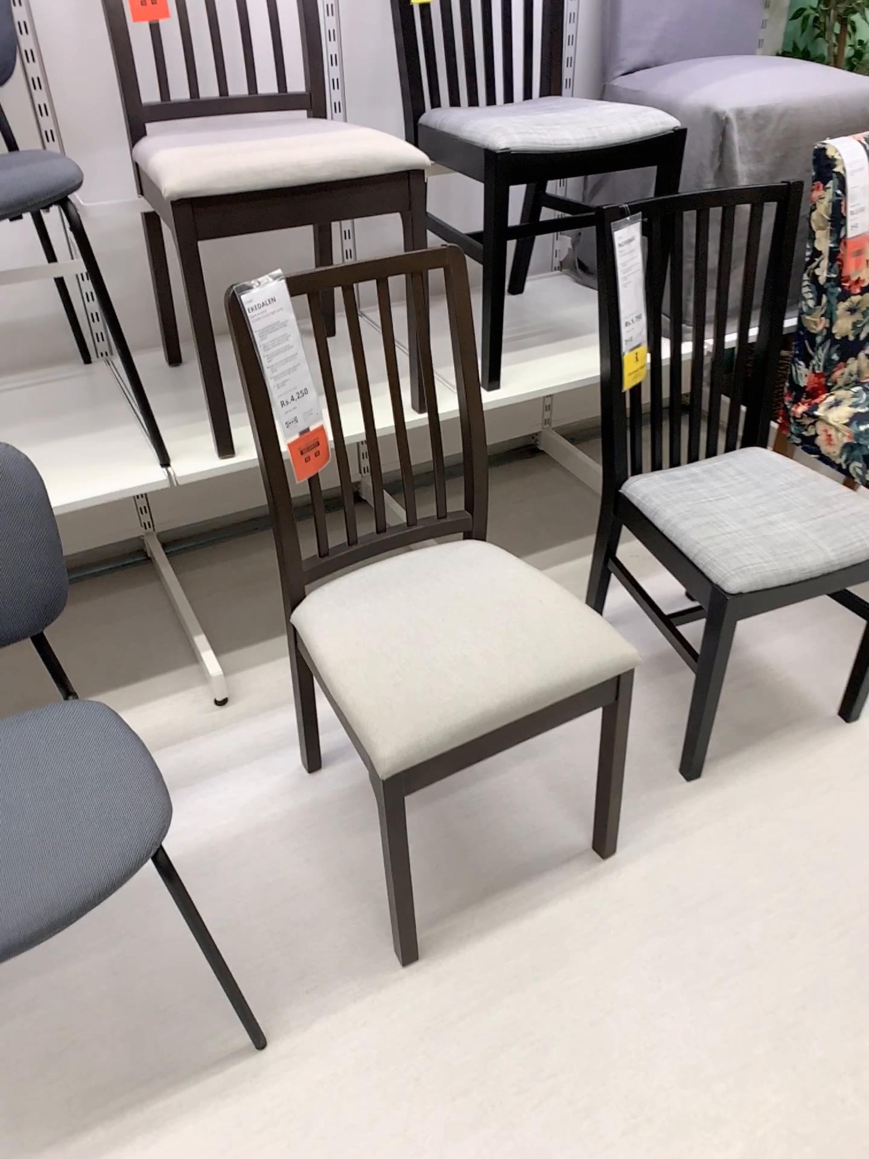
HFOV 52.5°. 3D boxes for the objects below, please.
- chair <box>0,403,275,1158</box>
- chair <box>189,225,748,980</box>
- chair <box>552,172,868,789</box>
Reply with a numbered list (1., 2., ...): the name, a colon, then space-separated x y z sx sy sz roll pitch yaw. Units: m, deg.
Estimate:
1. chair: -0.643 0.318 1.132 0.571 0.787 0.612 -22 41 -25
2. chair: 0.020 0.032 1.351 0.480 0.916 0.532 -19 40 -22
3. chair: 0.583 -0.183 1.633 0.480 0.916 0.532 -15 38 -17
